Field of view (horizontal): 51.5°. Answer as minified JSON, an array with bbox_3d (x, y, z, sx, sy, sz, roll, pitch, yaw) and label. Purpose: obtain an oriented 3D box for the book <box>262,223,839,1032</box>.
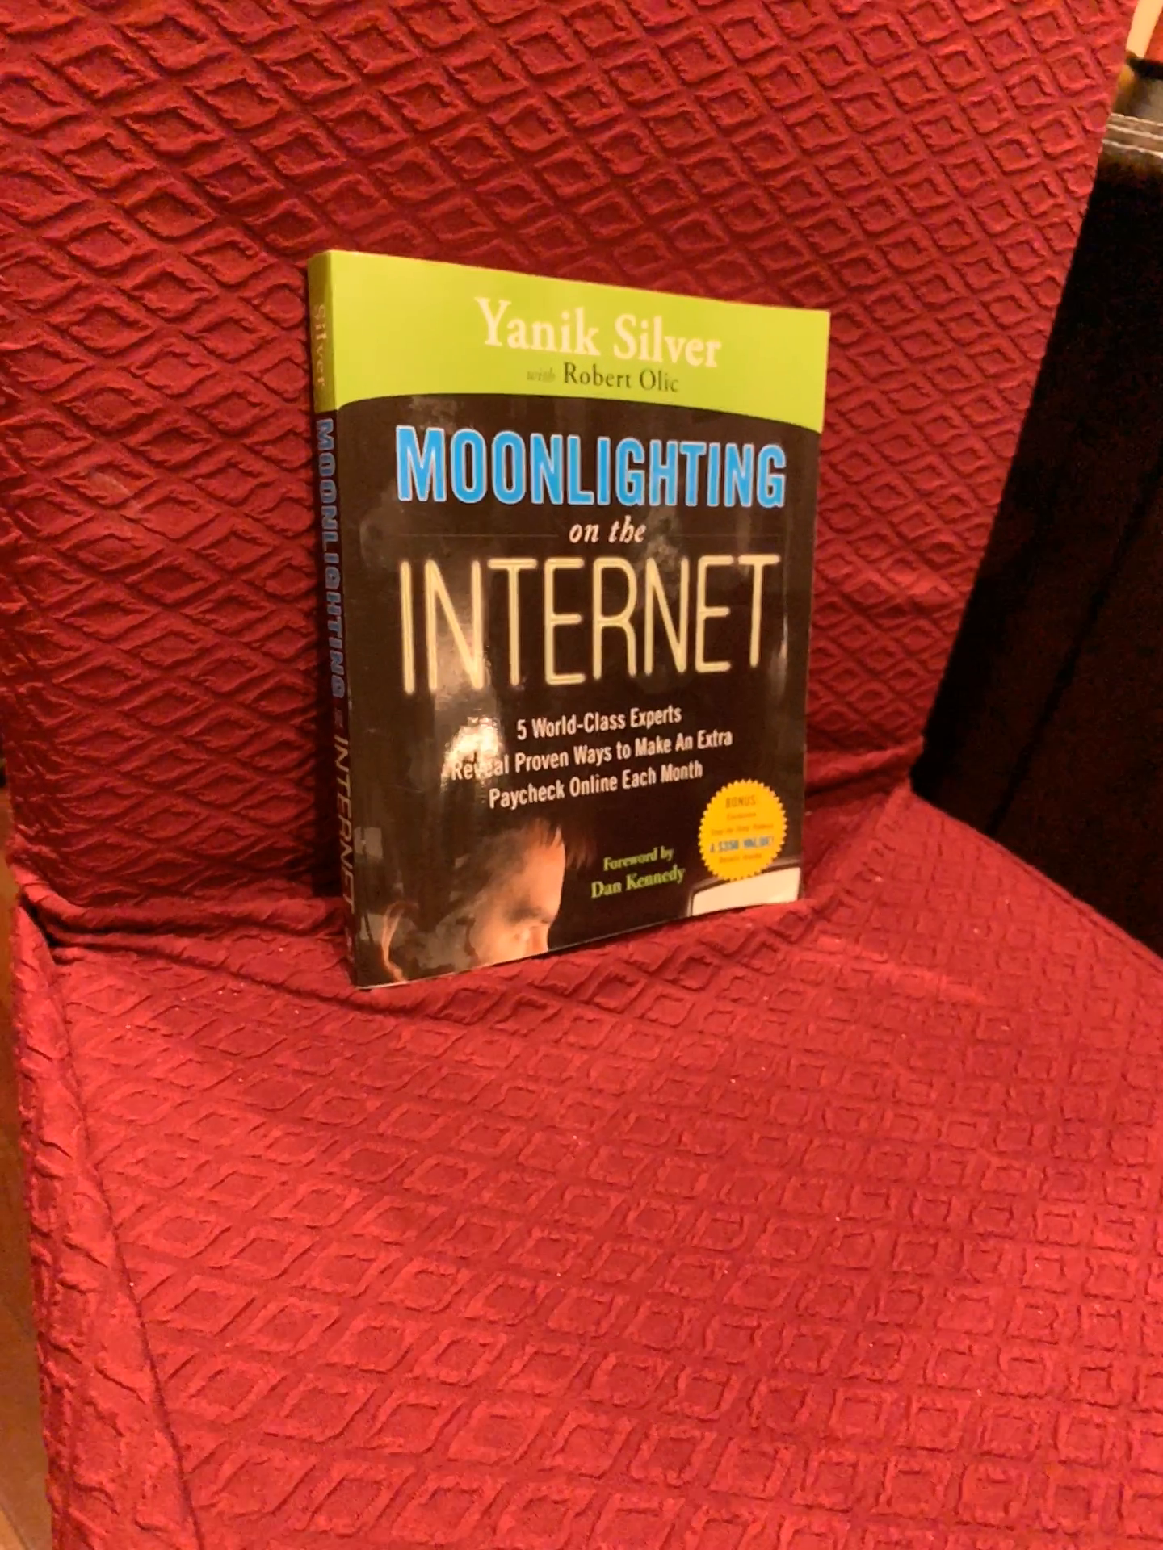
[{"bbox_3d":[-0.001,-0.051,0.426,0.200,0.239,0.040,-8,14,-32],"label":"book"}]
